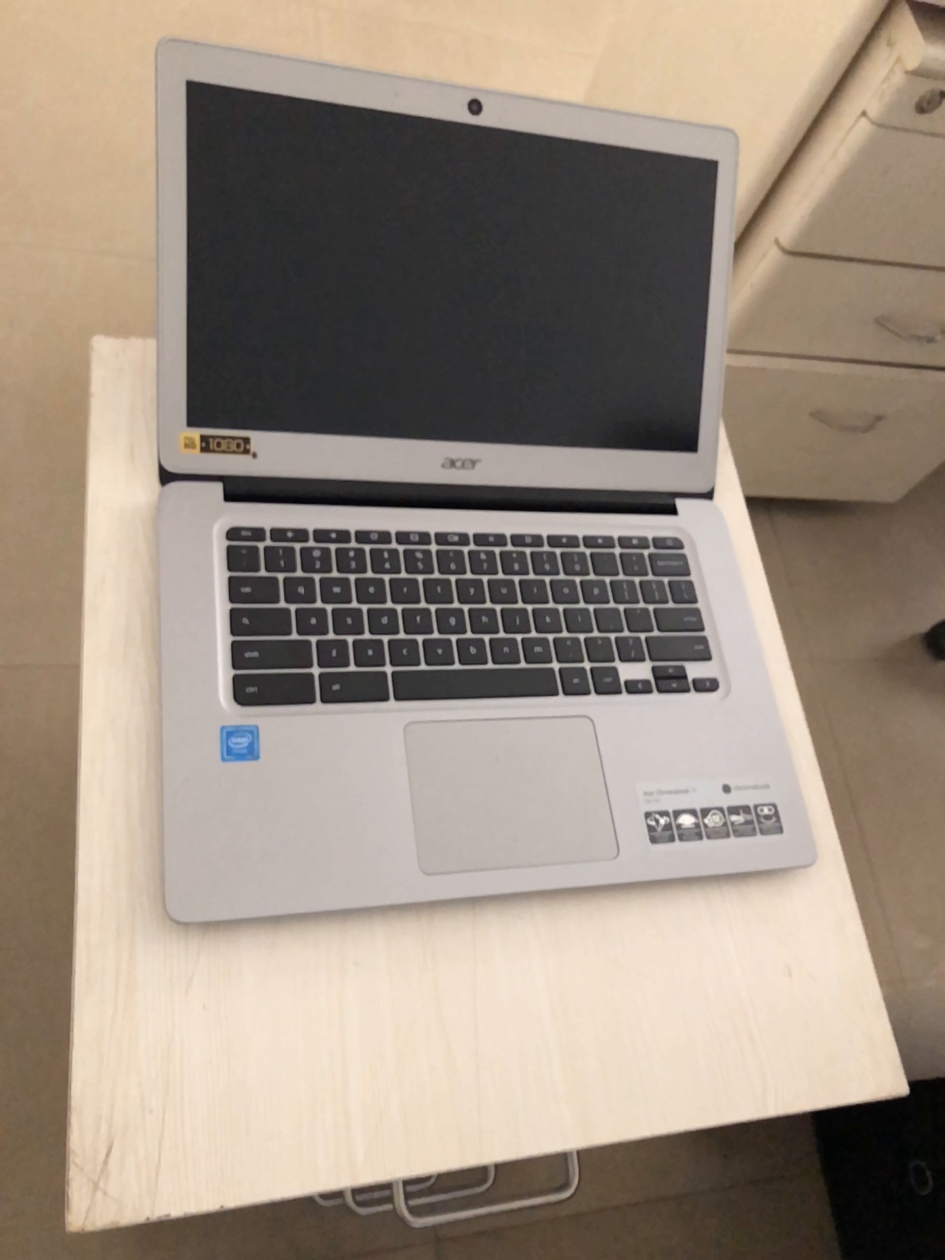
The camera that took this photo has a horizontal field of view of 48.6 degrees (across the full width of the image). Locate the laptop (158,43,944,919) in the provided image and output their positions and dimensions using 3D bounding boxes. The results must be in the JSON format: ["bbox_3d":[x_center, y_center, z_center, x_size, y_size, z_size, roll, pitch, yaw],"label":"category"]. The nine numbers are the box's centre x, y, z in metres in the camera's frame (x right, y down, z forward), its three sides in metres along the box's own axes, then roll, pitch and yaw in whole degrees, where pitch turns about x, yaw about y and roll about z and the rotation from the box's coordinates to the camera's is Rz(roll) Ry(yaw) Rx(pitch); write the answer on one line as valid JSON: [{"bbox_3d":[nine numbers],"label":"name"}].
[{"bbox_3d":[0.012,-0.084,0.546,0.332,0.125,0.409,0,64,-18],"label":"laptop"}]
